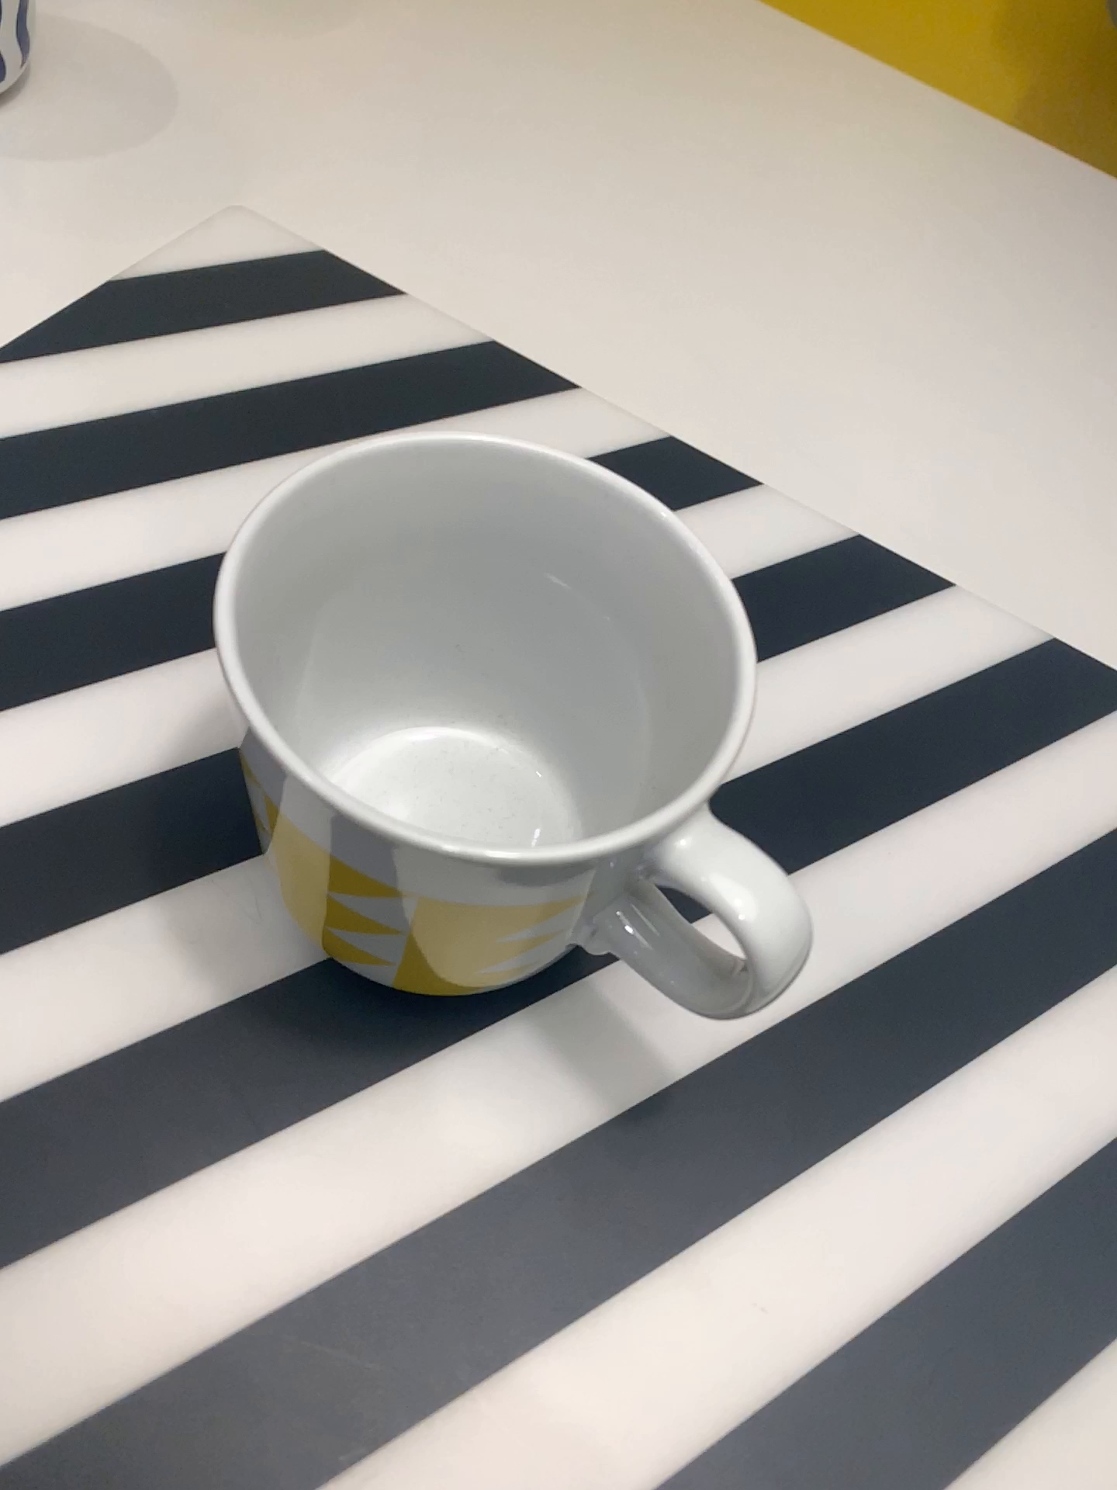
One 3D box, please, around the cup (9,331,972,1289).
[{"bbox_3d":[-0.015,0.007,0.178,0.110,0.070,0.070,43,57,17],"label":"cup"}]
